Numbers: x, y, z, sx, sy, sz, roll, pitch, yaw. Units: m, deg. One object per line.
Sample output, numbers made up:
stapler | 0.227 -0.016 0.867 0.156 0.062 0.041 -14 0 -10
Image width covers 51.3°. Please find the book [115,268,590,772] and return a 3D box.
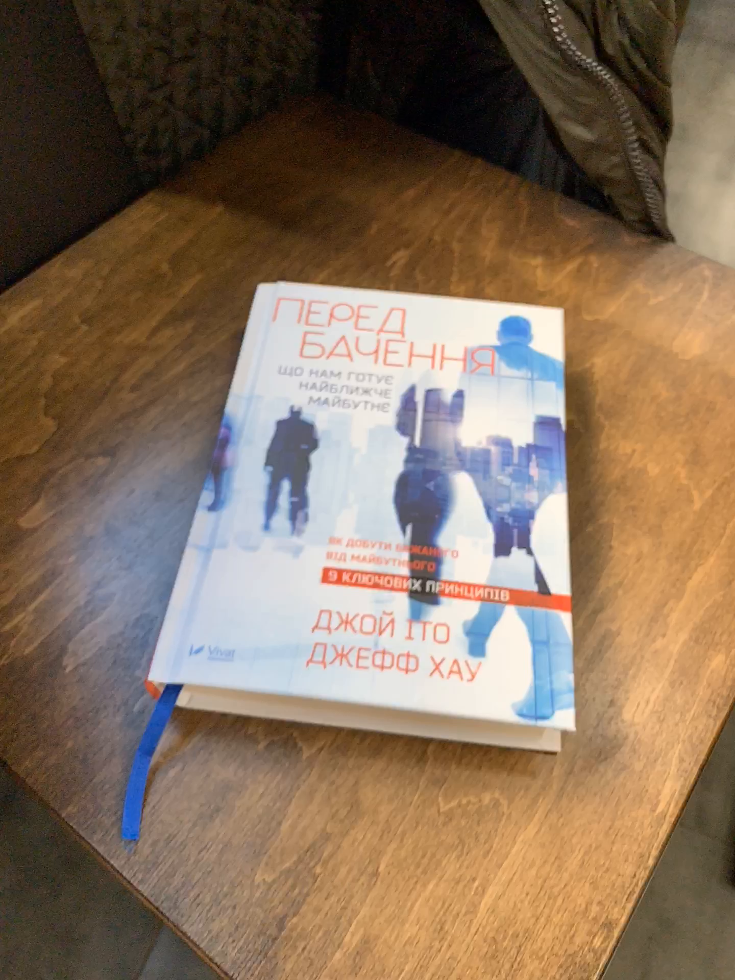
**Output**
book | 0.005 -0.001 0.309 0.149 0.040 0.196 6 56 3
